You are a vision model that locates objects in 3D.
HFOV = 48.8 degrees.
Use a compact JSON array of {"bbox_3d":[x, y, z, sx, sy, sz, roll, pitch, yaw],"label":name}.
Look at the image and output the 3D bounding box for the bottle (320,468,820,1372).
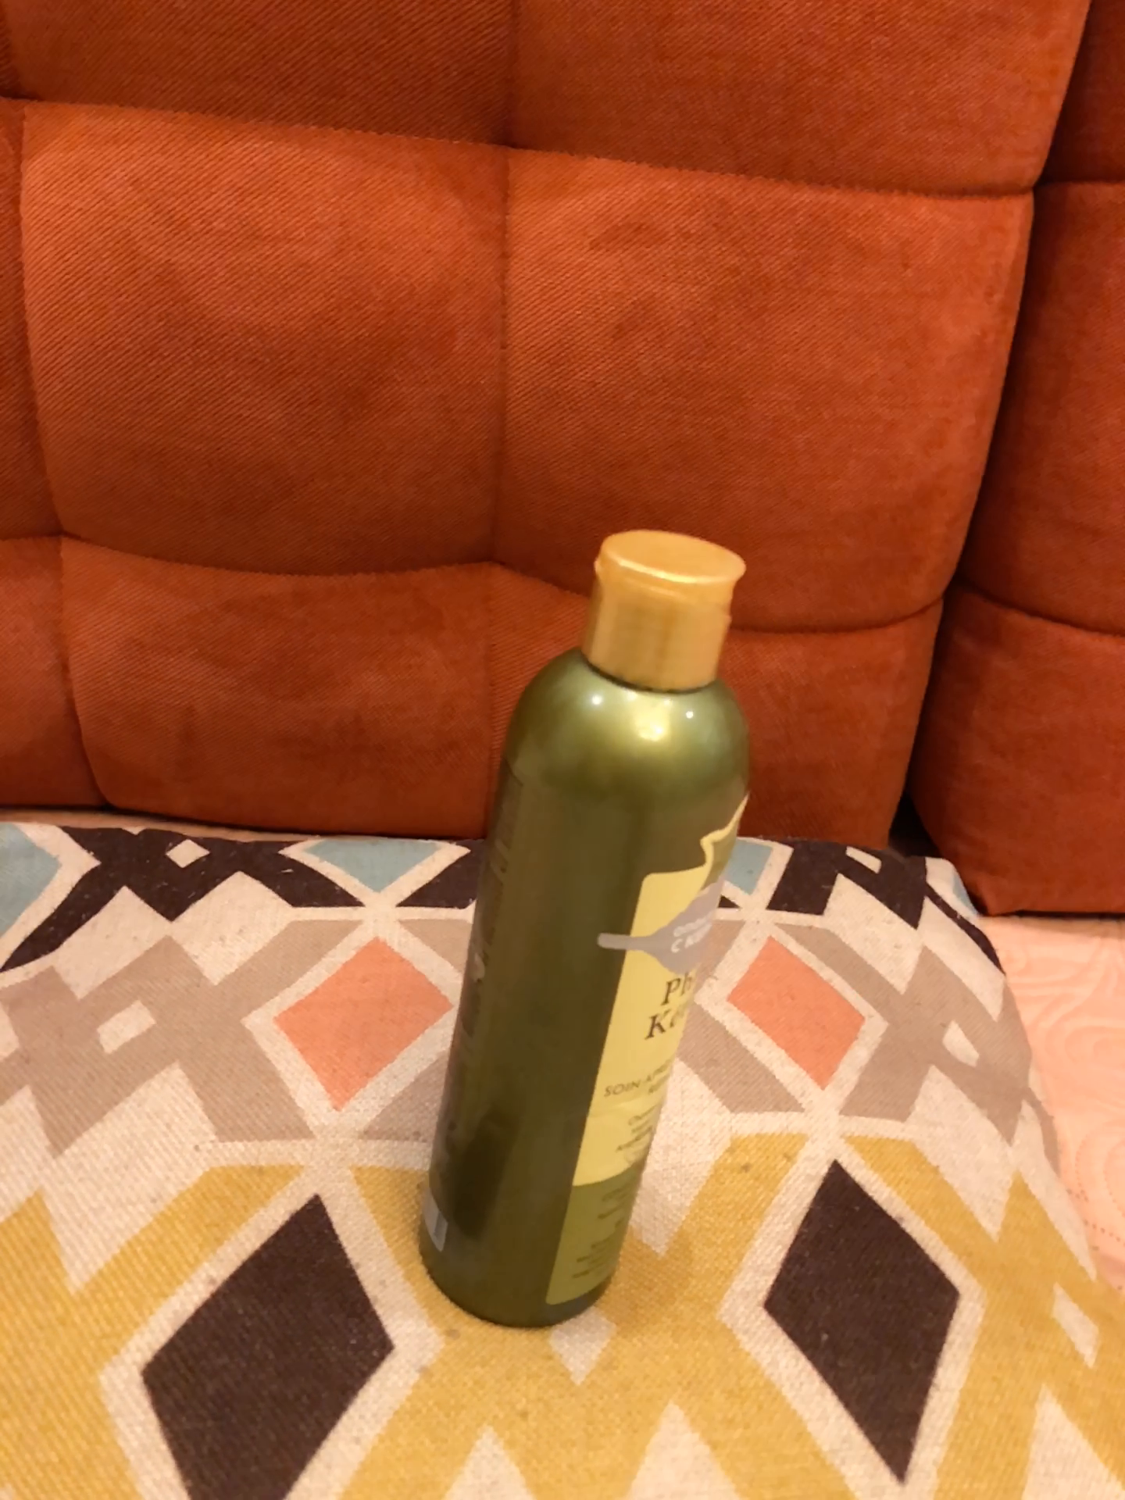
[{"bbox_3d":[-0.003,0.040,0.272,0.070,0.179,0.060,17,29,16],"label":"bottle"}]
